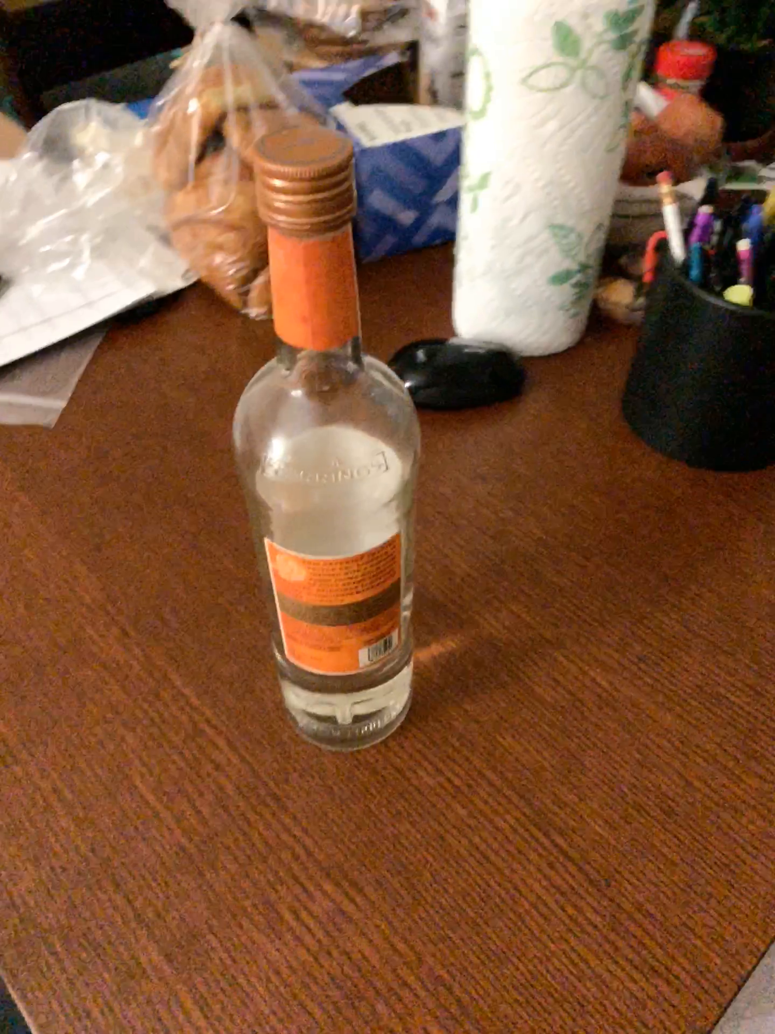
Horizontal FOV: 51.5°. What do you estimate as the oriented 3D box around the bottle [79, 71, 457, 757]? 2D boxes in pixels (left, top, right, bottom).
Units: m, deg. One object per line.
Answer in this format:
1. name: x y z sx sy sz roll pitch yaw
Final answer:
1. bottle: -0.028 -0.006 0.329 0.090 0.299 0.080 0 48 0
